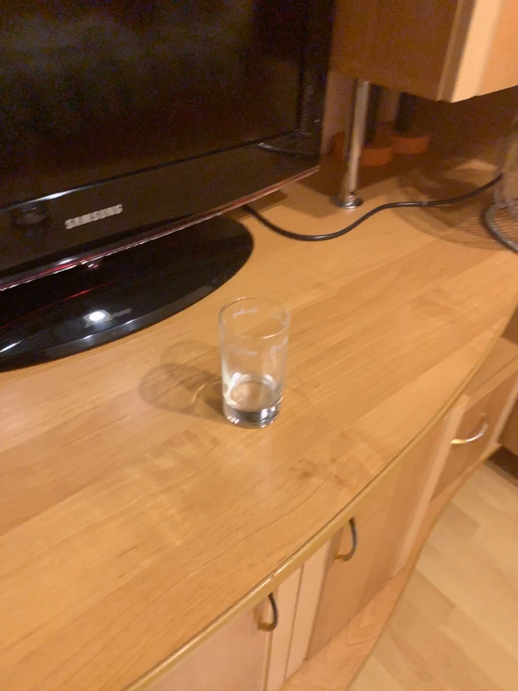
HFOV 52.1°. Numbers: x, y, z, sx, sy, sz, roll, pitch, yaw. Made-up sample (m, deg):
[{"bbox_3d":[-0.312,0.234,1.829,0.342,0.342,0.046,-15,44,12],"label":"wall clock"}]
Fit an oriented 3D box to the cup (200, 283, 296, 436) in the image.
[{"bbox_3d":[-0.007,0.012,0.424,0.060,0.099,0.061,1,38,-1],"label":"cup"}]
